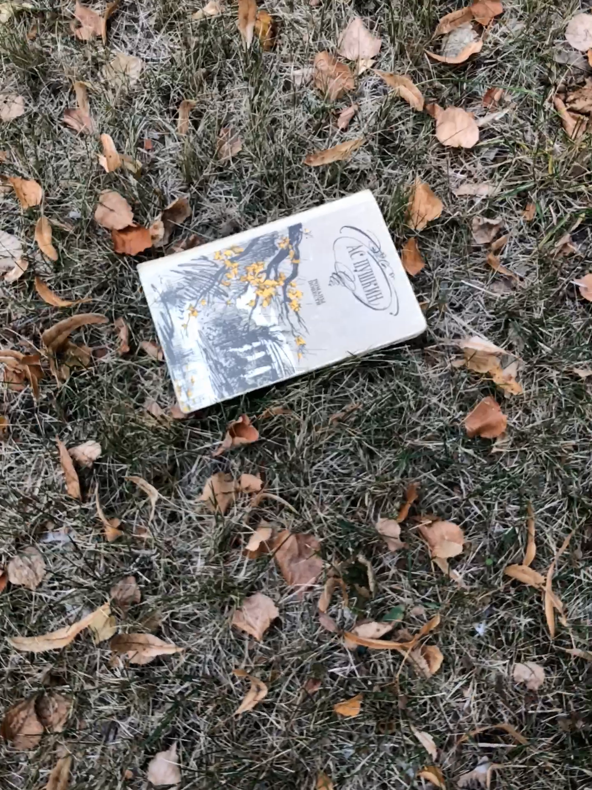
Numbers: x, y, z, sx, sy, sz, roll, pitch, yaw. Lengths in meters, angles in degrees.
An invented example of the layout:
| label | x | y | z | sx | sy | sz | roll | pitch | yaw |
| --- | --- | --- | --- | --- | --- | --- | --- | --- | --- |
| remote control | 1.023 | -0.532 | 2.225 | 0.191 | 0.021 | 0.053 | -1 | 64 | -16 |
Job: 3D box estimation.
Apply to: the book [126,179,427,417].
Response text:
| label | x | y | z | sx | sy | sz | roll | pitch | yaw |
| --- | --- | --- | --- | --- | --- | --- | --- | --- | --- |
| book | -0.017 | -0.081 | 0.539 | 0.210 | 0.021 | 0.135 | -19 | 79 | -2 |
